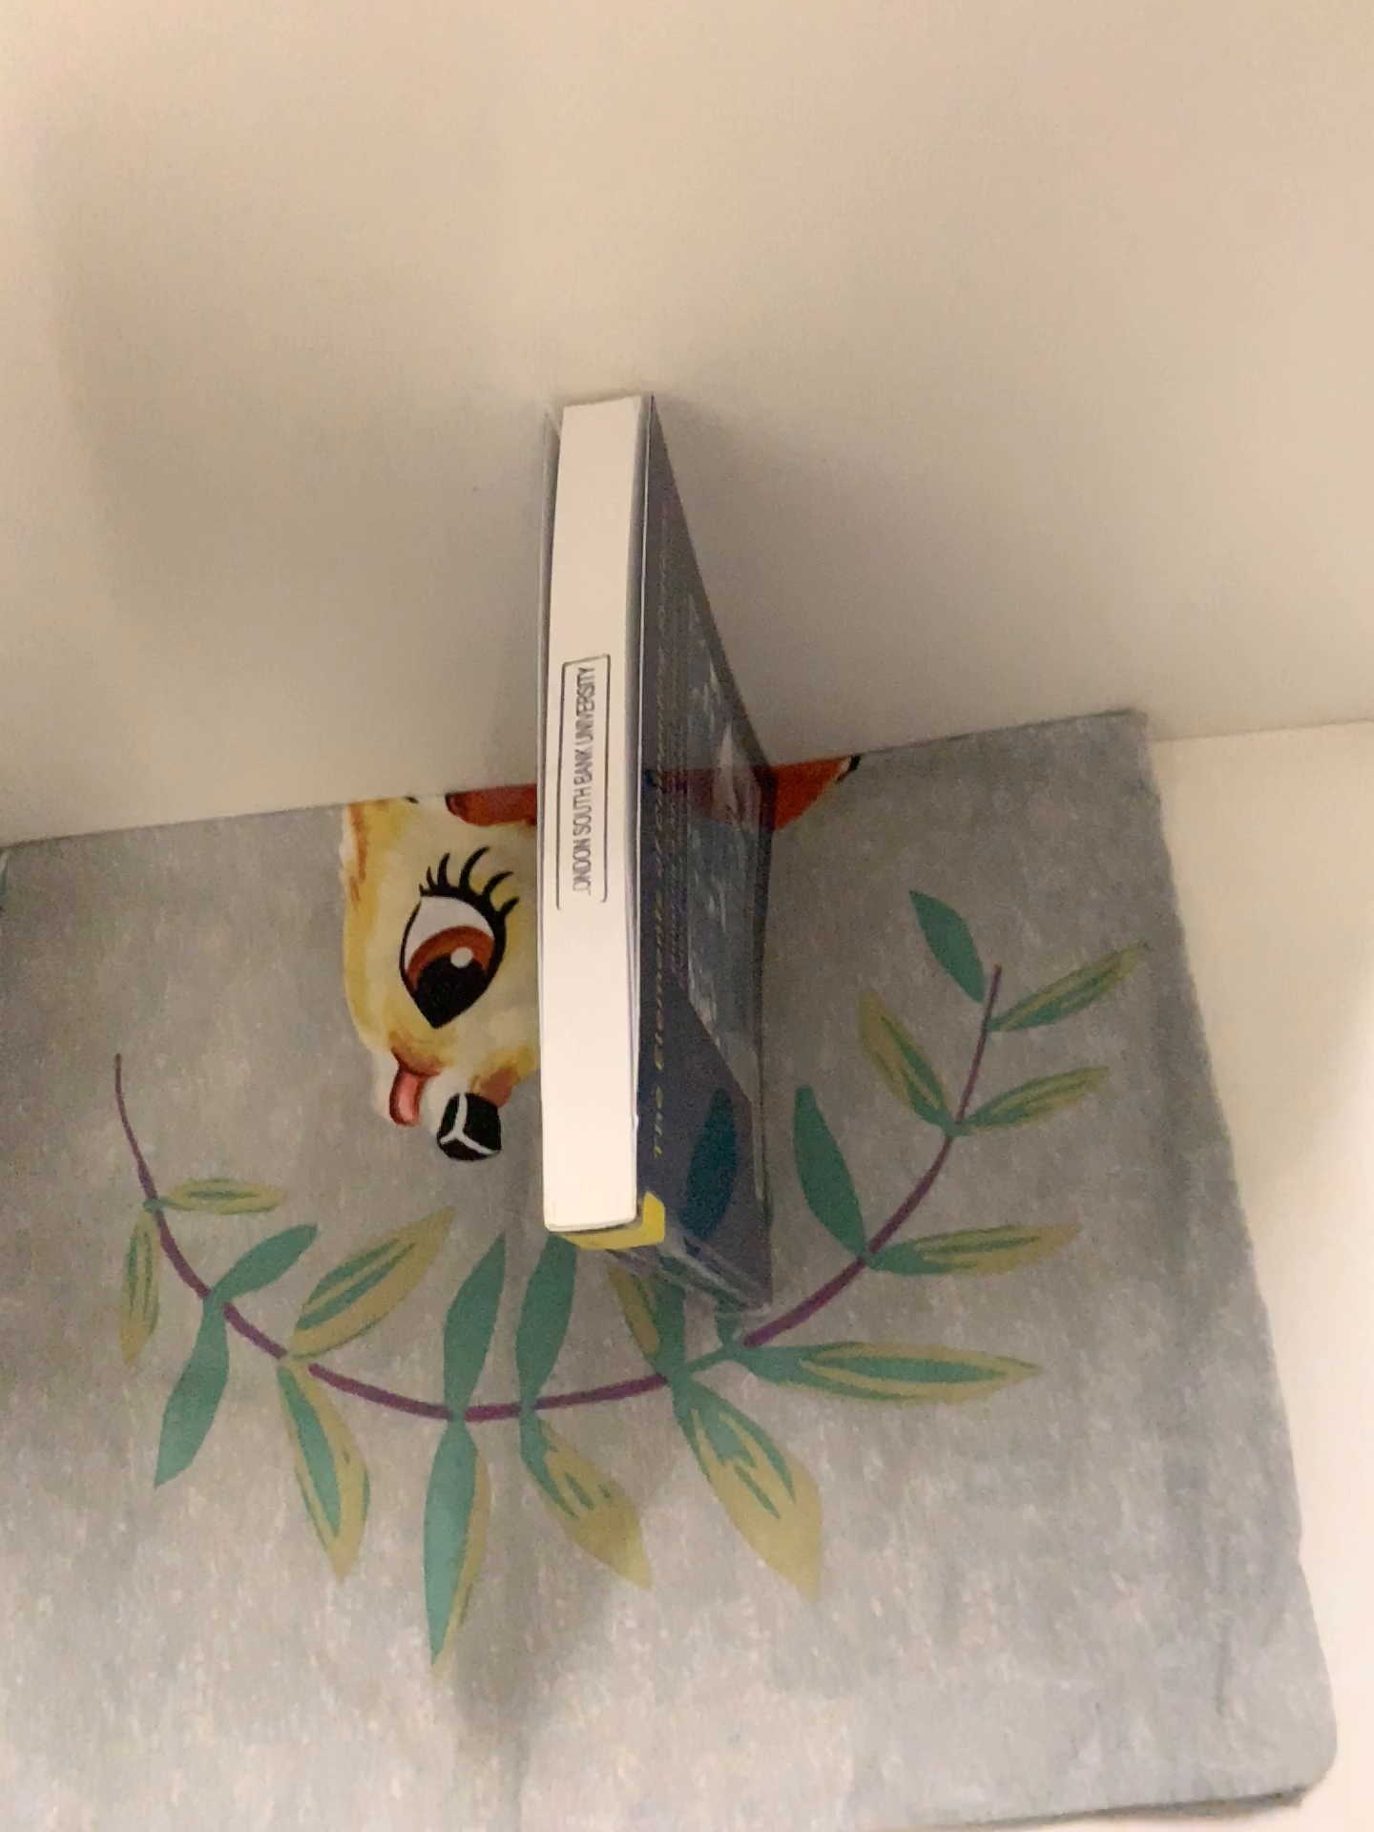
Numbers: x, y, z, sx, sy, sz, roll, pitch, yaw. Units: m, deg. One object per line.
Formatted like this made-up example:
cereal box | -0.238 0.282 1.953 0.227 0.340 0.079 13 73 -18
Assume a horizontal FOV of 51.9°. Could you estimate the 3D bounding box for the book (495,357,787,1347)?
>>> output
book | -0.002 0.007 0.423 0.030 0.239 0.221 -4 69 10
